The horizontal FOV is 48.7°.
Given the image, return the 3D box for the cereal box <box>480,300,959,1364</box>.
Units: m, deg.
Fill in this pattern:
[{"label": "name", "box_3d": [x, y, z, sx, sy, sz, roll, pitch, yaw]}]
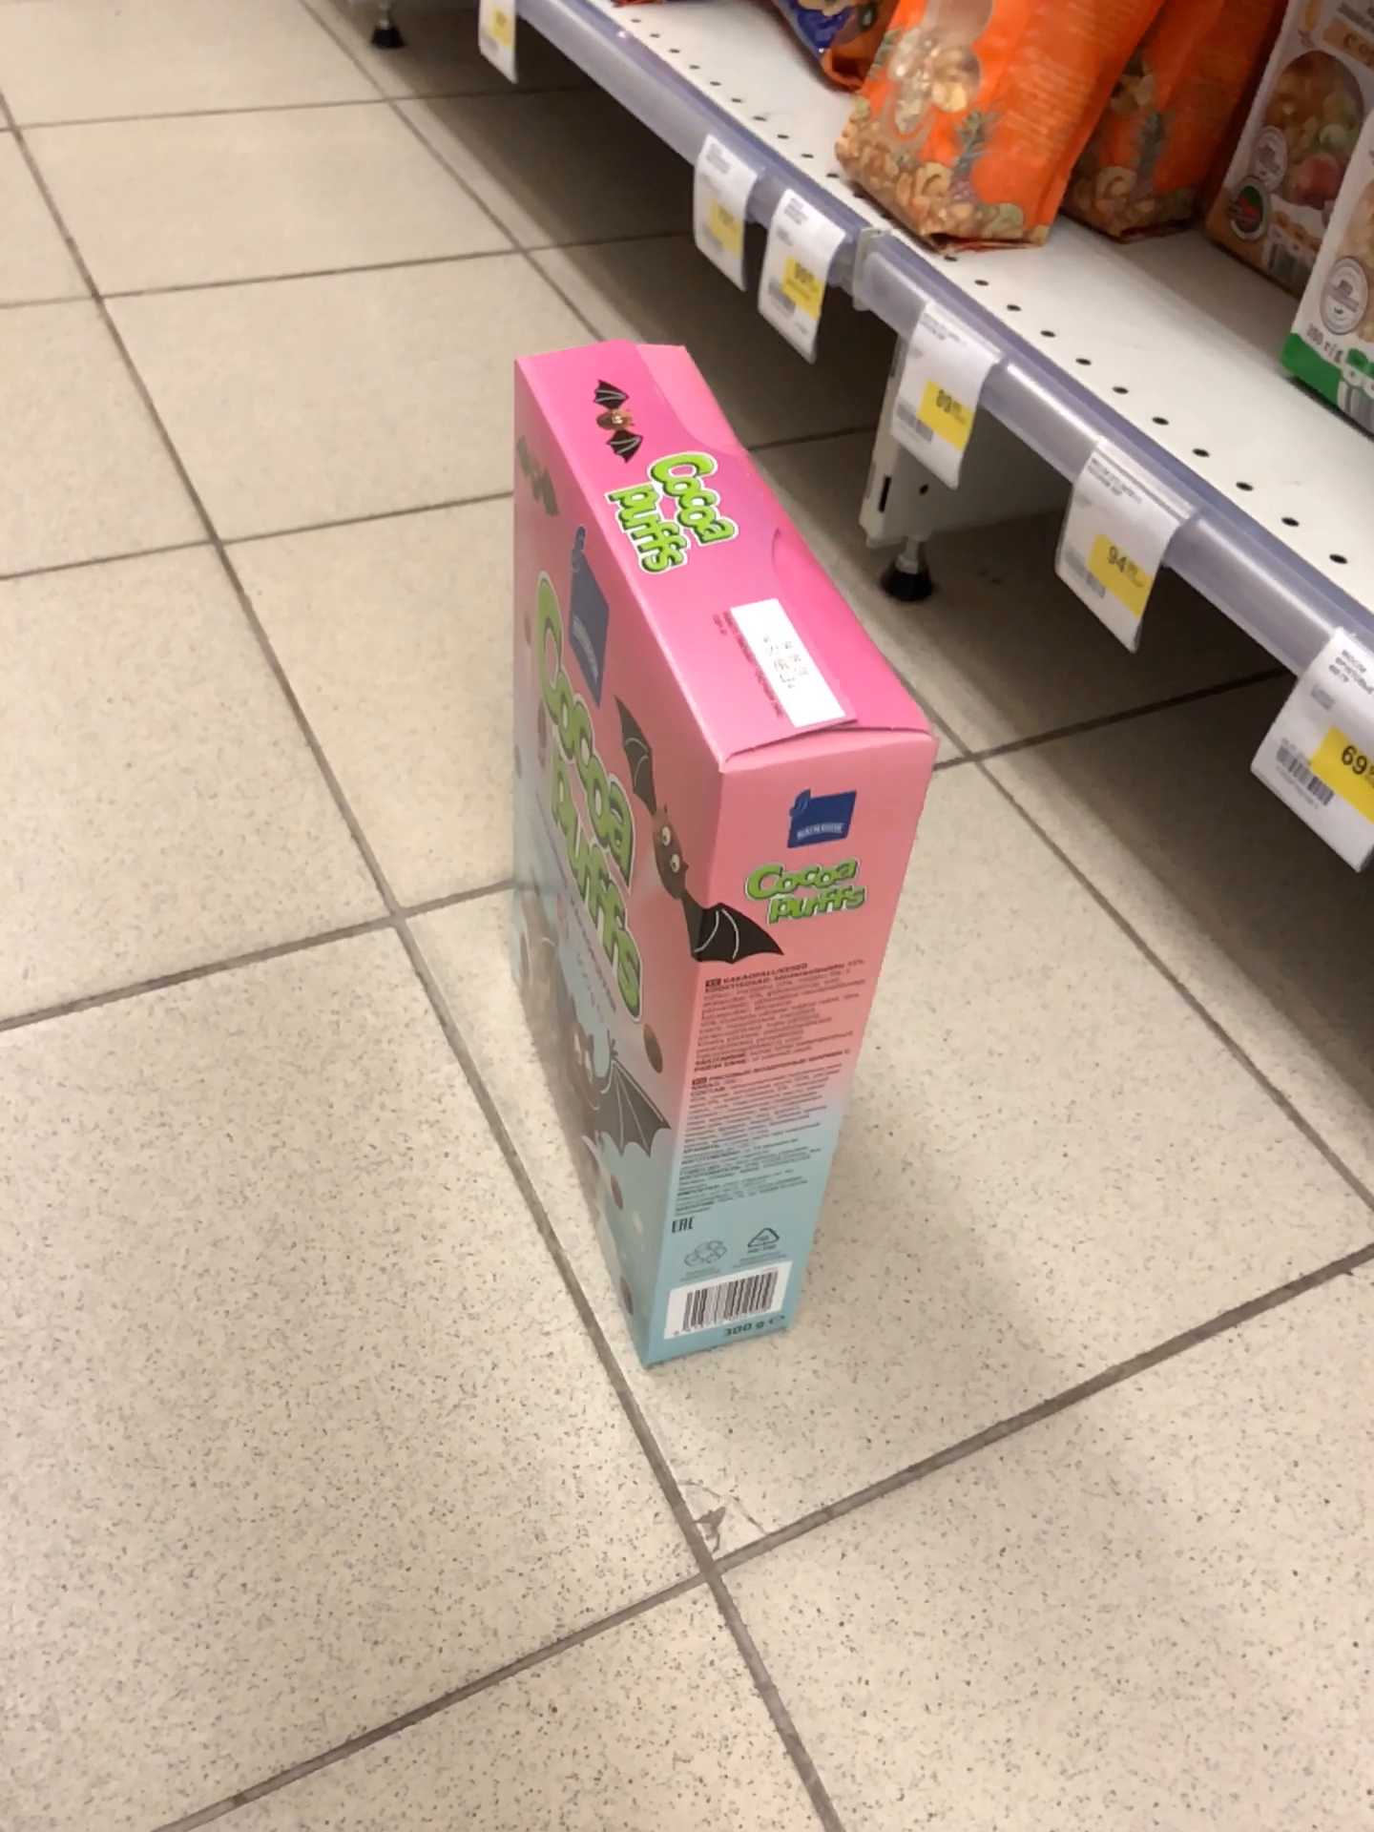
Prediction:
[{"label": "cereal box", "box_3d": [-0.012, -0.020, 0.494, 0.060, 0.268, 0.211, -10, 49, -16]}]
